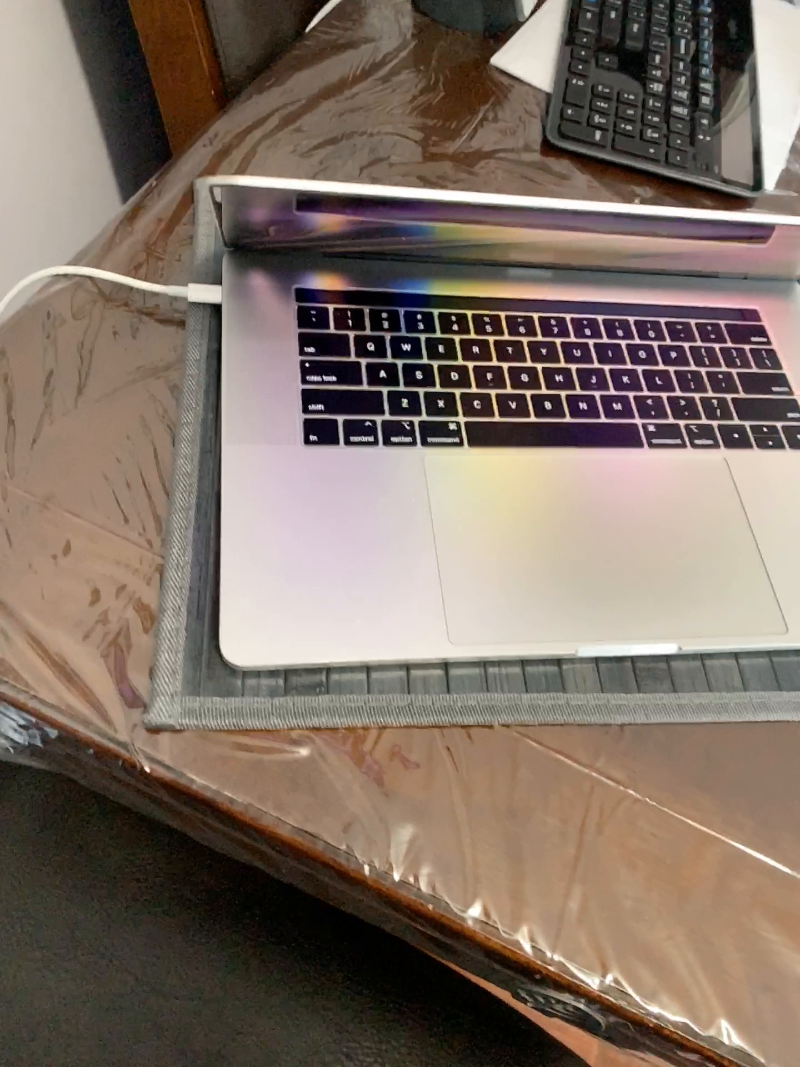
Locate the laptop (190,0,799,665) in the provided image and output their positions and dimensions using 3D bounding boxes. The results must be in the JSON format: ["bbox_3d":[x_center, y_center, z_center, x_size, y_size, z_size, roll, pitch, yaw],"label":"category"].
[{"bbox_3d":[0.097,-0.093,0.344,0.342,0.166,0.233,0,60,-10],"label":"laptop"}]
